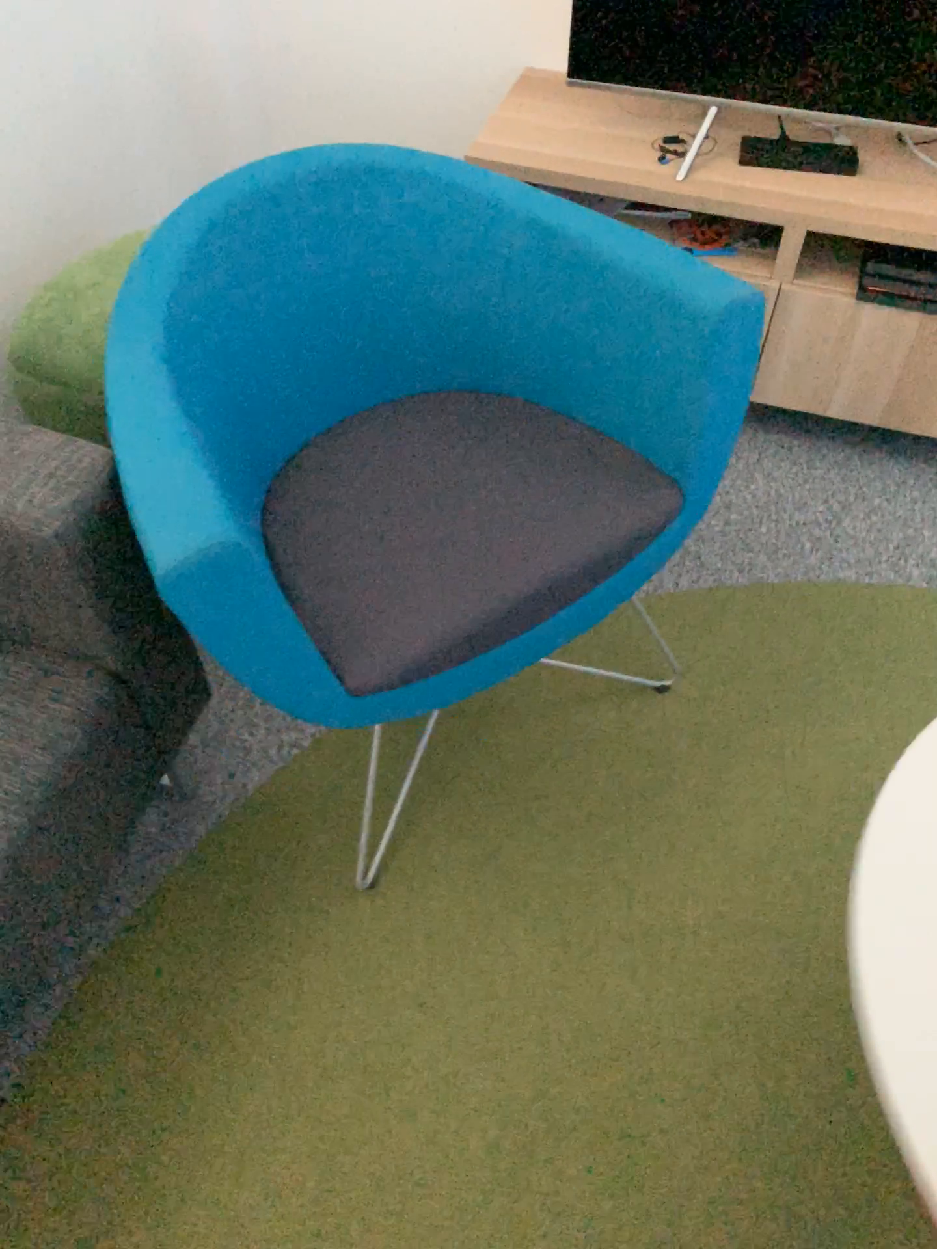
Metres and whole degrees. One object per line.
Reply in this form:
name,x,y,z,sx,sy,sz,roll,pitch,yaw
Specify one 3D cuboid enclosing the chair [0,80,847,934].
chair,-0.085,-0.174,1.305,0.761,0.687,0.622,-30,57,-22
